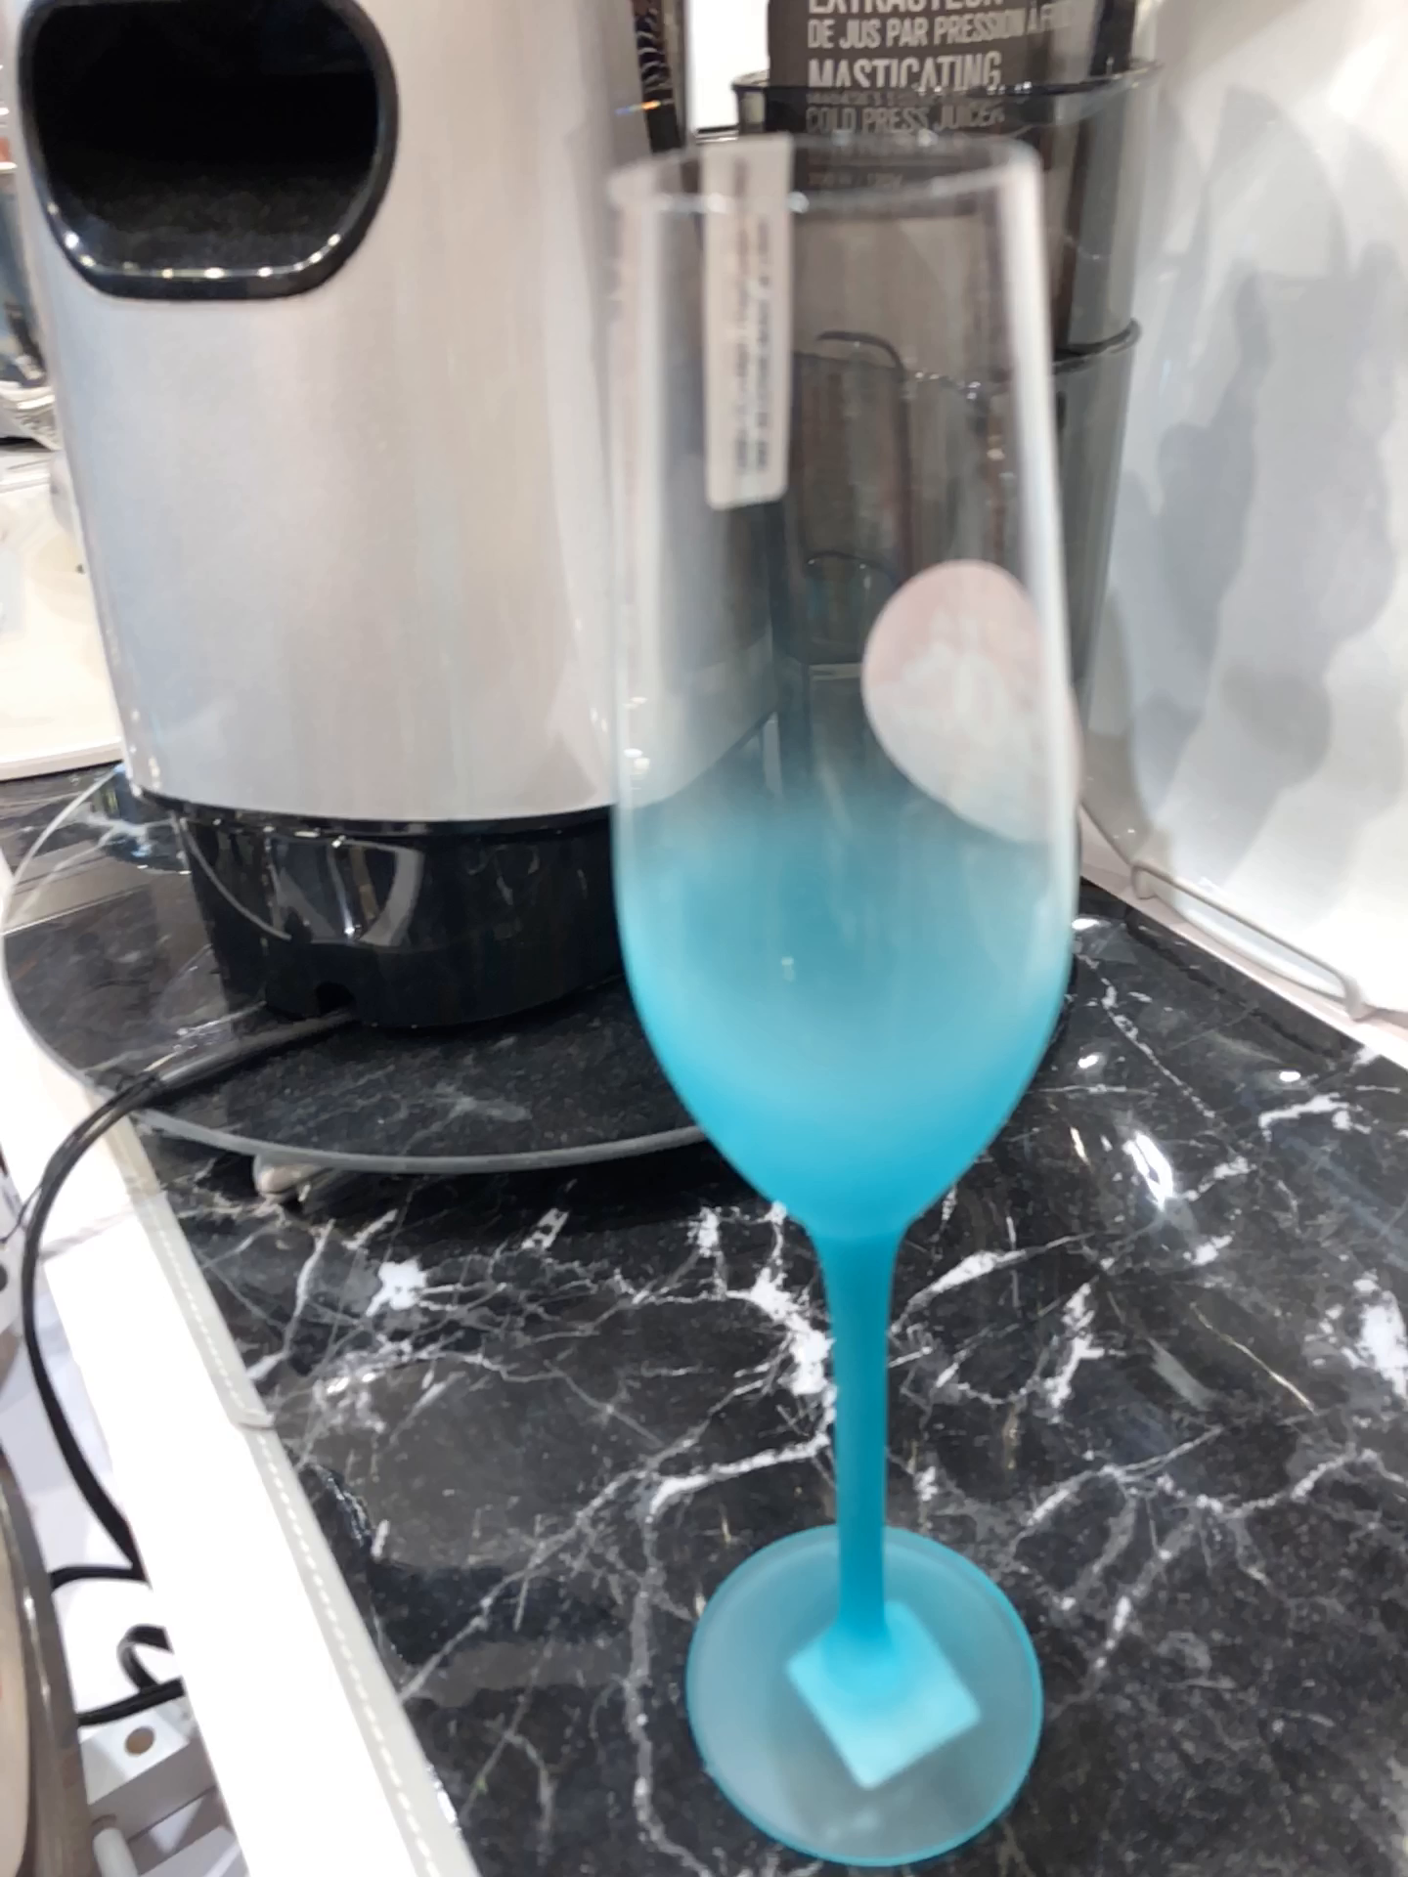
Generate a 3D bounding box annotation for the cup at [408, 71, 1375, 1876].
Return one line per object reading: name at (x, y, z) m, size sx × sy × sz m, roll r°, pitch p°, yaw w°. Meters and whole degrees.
cup at (0.016, 0.027, 0.205) m, size 0.070 × 0.239 × 0.070 m, roll -3°, pitch 33°, yaw 2°
